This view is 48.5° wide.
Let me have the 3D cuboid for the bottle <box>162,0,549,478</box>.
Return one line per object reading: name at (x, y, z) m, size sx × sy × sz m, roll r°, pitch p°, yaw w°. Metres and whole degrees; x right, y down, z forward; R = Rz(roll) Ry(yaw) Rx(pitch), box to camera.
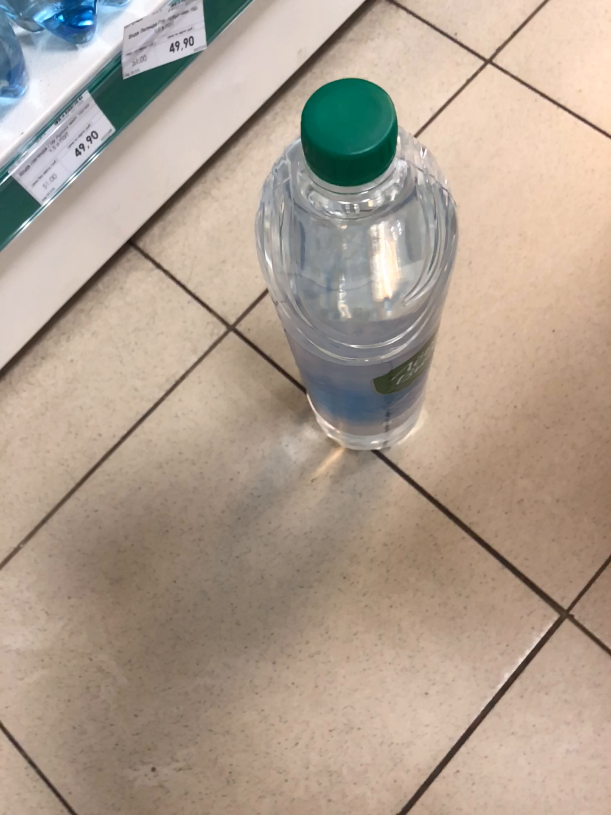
bottle at (0.032, -0.047, 0.355) m, size 0.086 × 0.300 × 0.089 m, roll -2°, pitch 75°, yaw 6°
